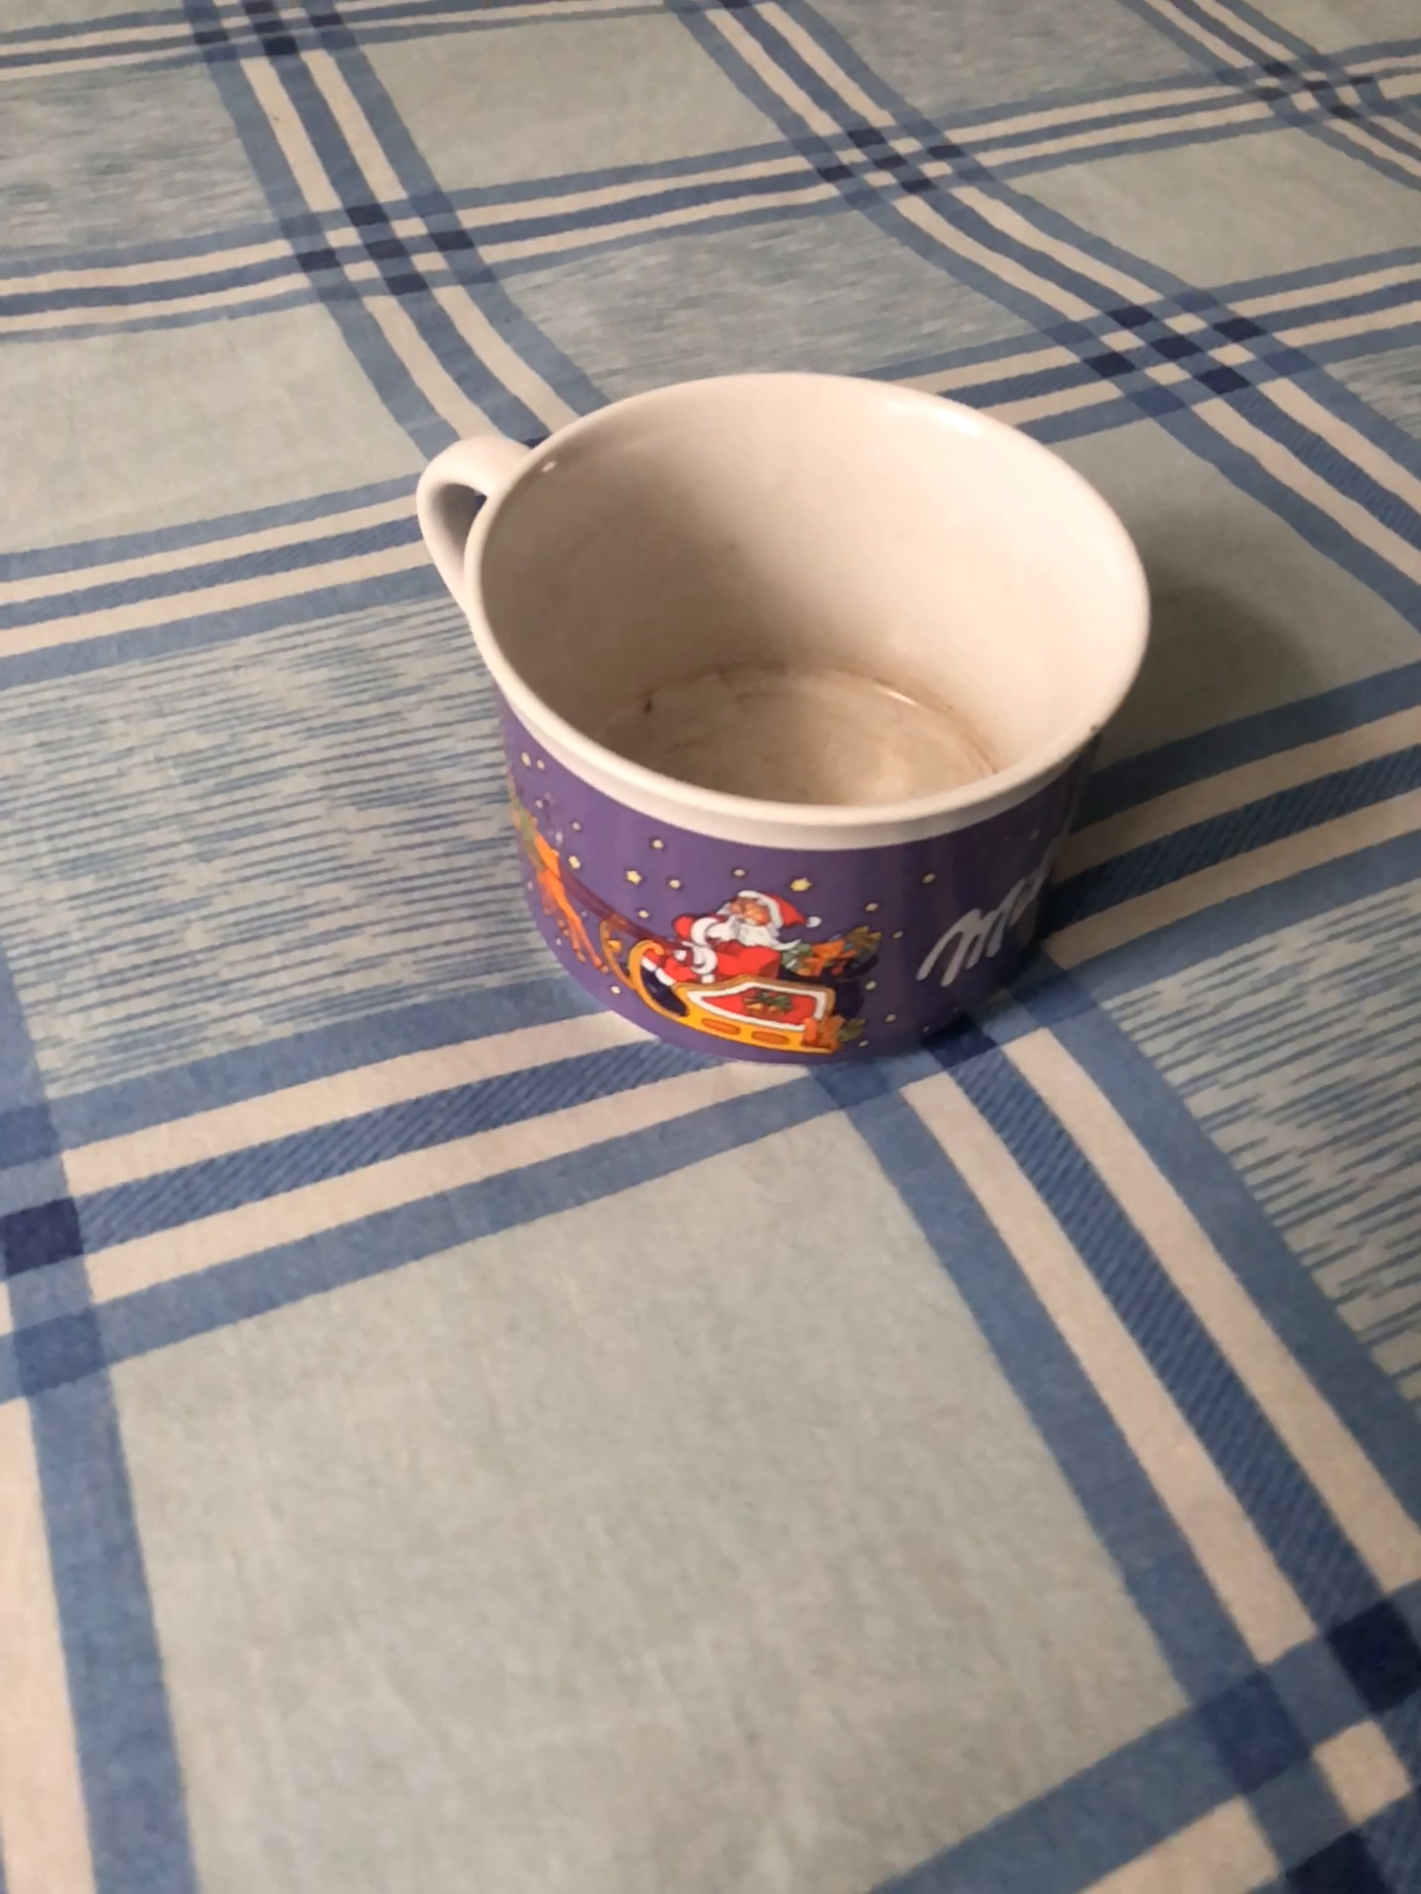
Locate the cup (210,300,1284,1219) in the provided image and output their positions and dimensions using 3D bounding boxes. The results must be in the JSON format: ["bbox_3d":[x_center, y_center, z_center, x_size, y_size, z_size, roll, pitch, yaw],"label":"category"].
[{"bbox_3d":[0.006,-0.041,0.268,0.130,0.063,0.105,31,54,23],"label":"cup"}]
